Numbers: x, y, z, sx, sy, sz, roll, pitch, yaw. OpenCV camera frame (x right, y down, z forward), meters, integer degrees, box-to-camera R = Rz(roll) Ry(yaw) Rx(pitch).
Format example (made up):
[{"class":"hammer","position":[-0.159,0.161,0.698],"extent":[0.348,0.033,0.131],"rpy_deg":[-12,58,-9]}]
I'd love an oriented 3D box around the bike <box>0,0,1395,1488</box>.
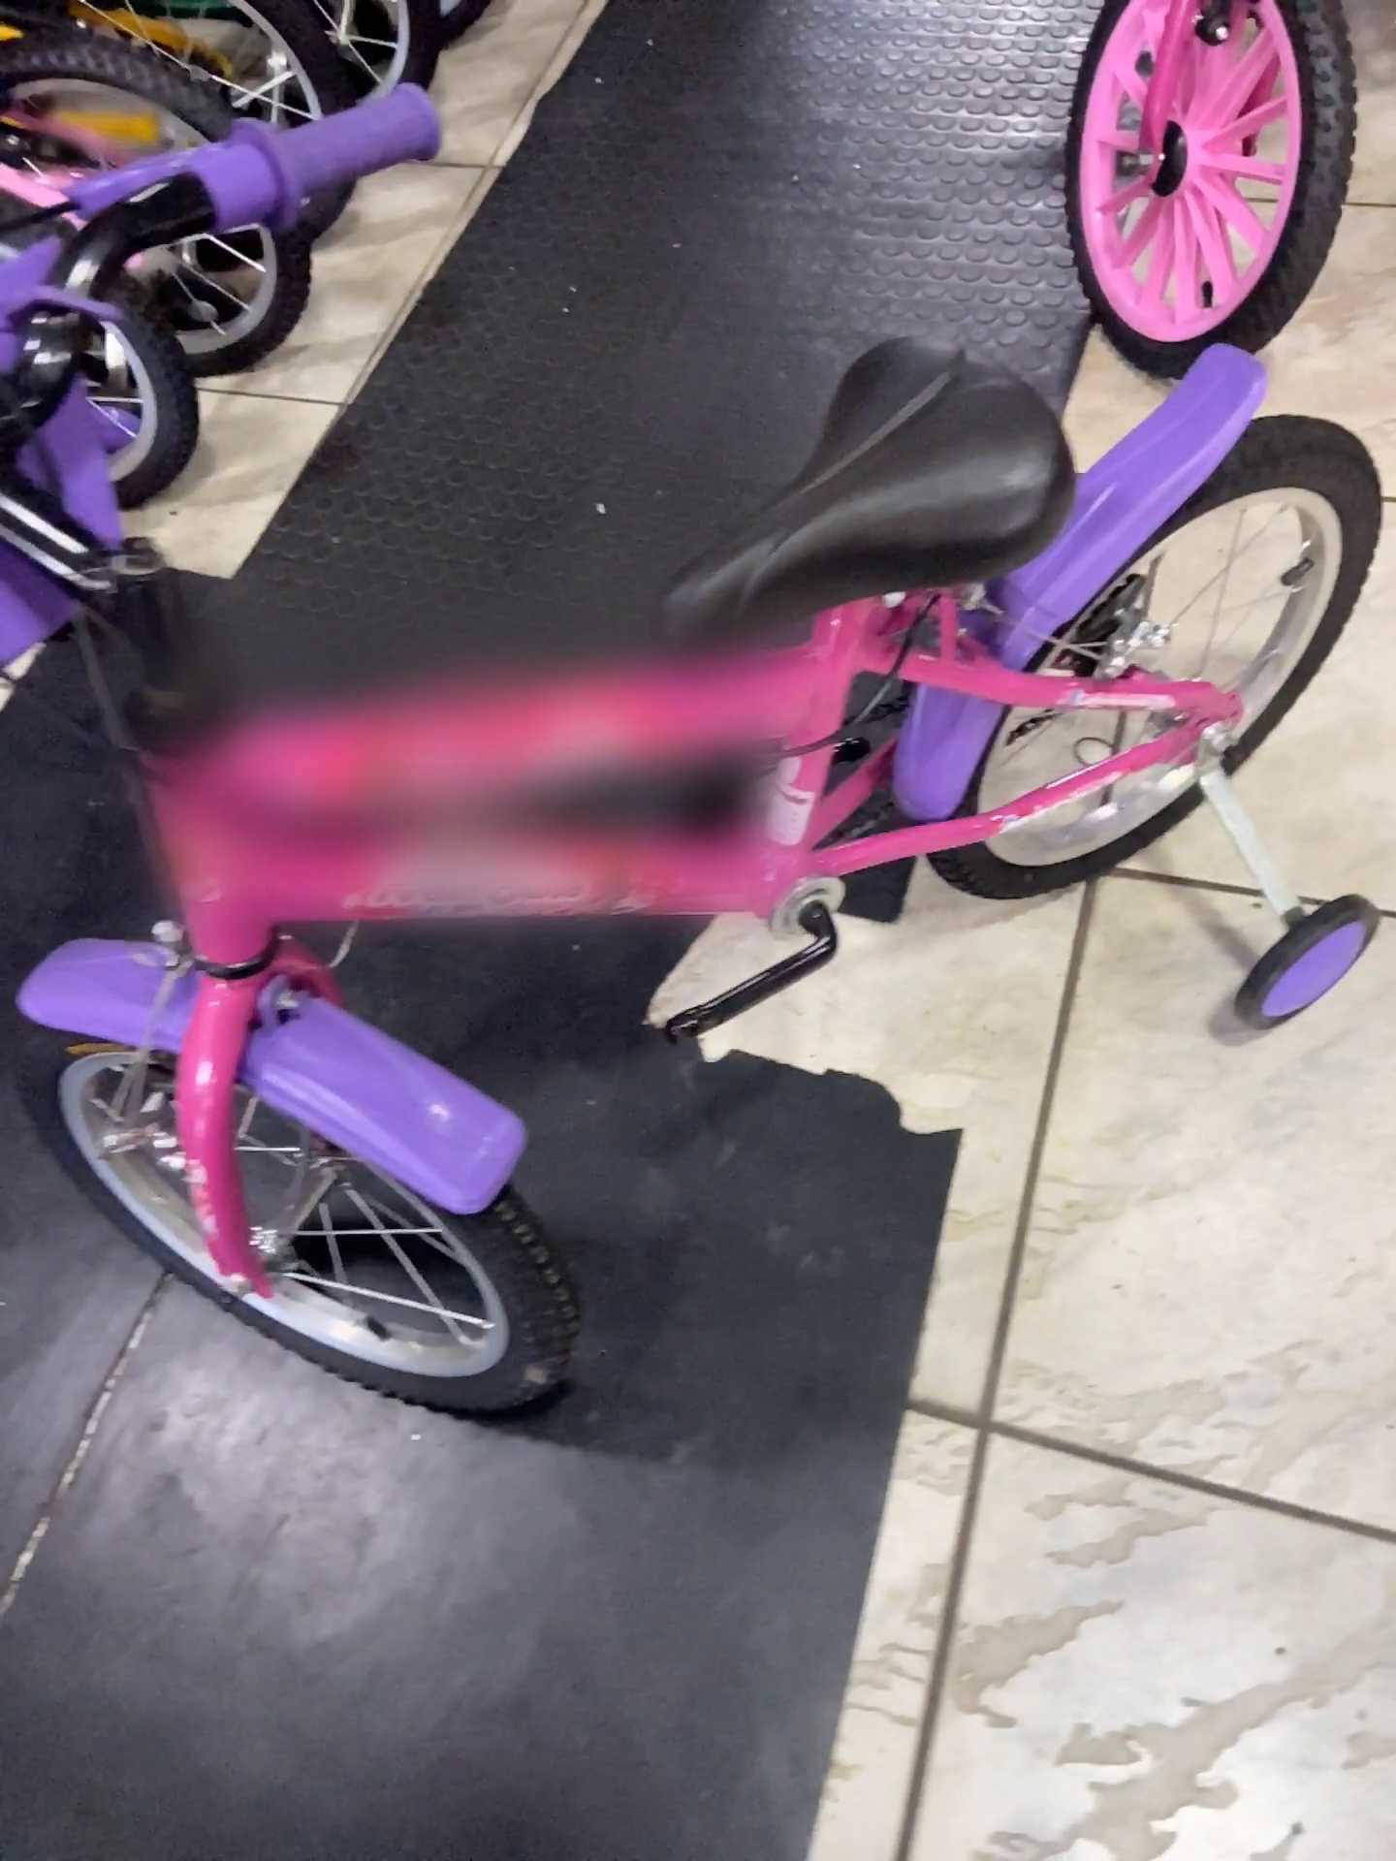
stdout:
[{"class":"bike","position":[-0.057,-0.172,0.841],"extent":[0.921,0.703,0.548],"rpy_deg":[-26,57,-3]}]
